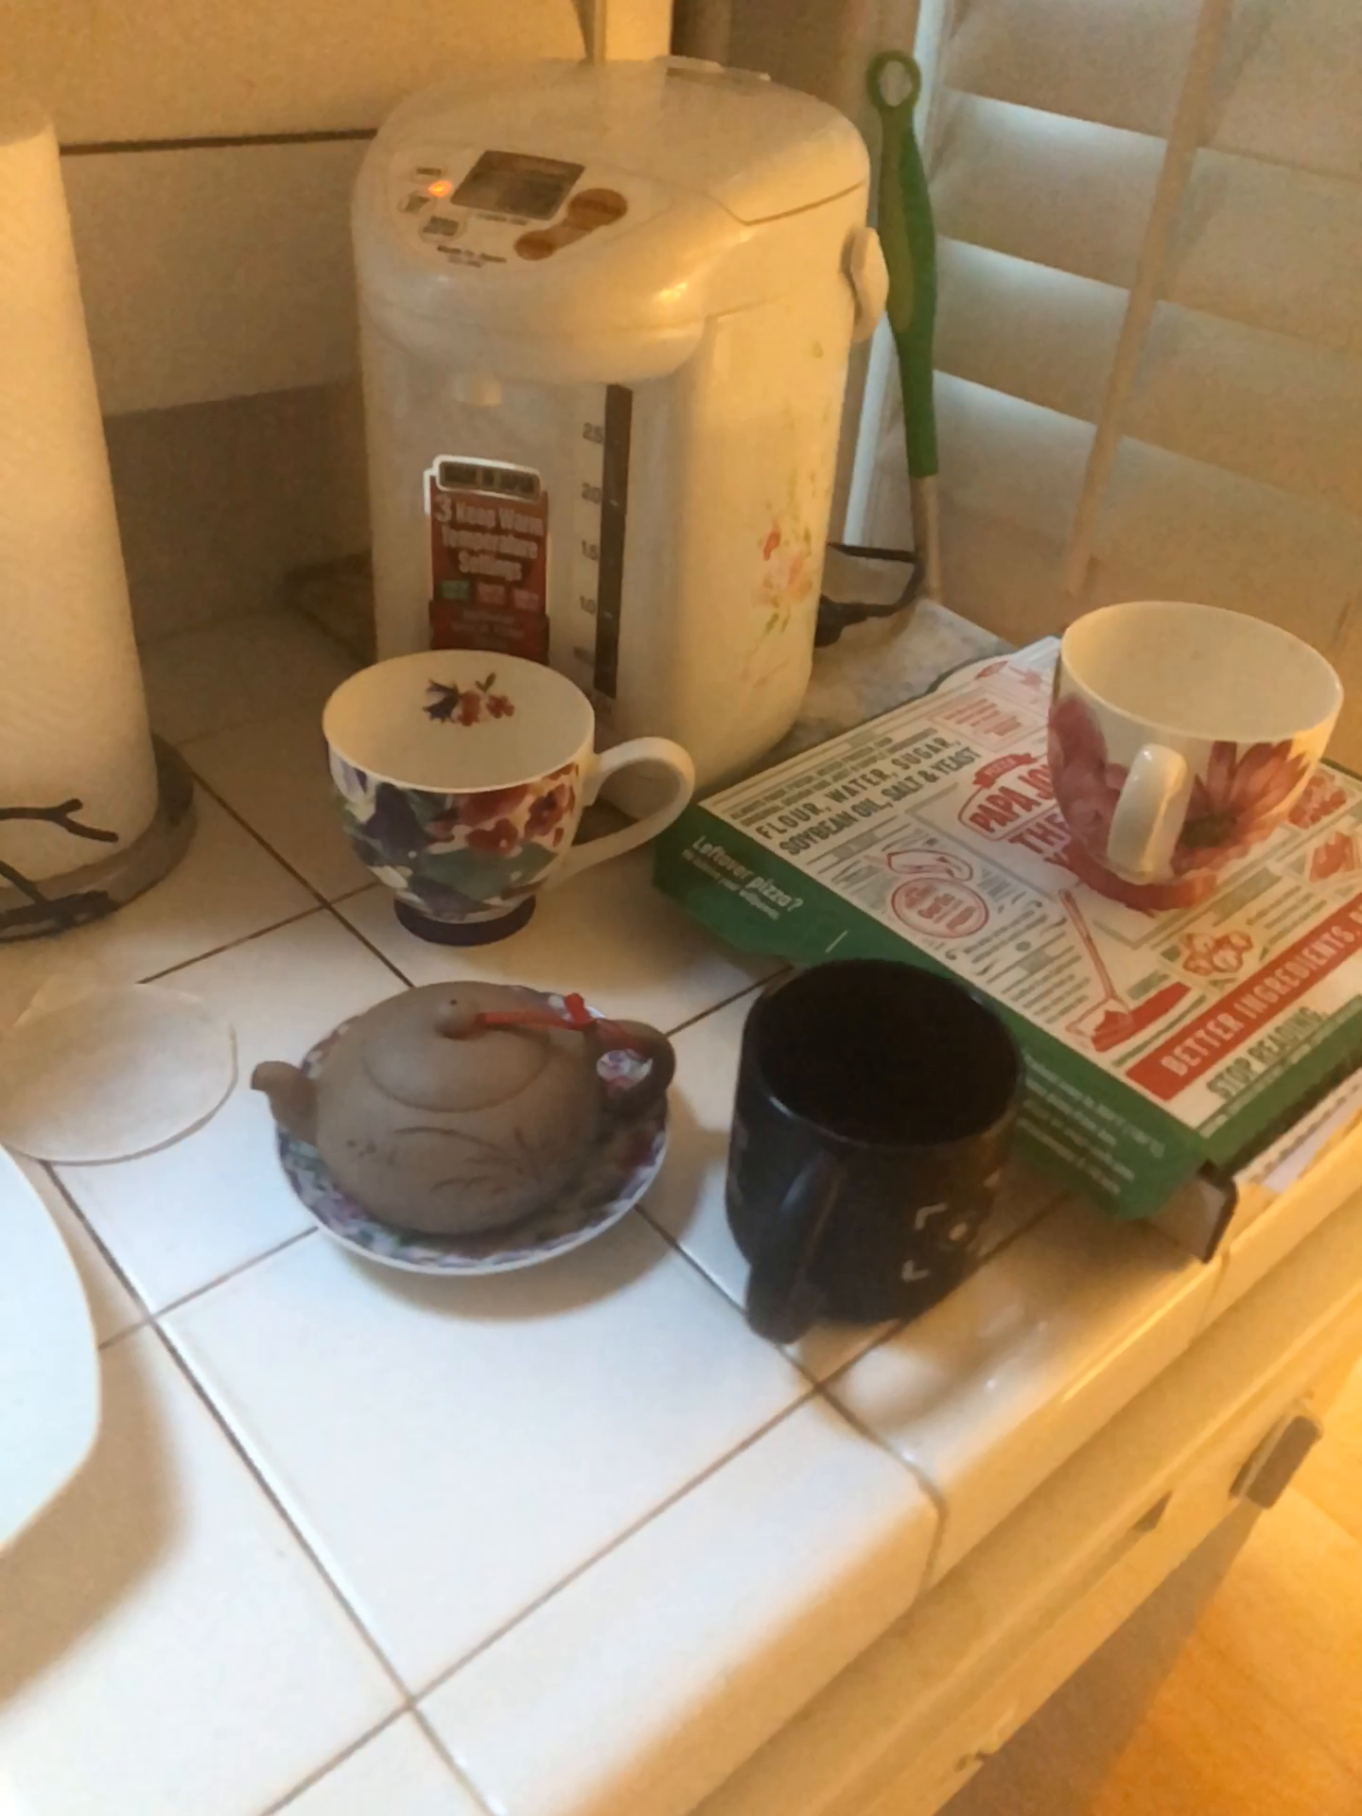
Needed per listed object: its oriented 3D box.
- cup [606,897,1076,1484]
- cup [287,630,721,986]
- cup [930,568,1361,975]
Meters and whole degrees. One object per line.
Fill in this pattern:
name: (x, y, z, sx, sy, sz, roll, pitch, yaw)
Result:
cup: (0.053, 0.087, 0.500, 0.090, 0.099, 0.141, 24, 41, 22)
cup: (-0.069, -0.044, 0.635, 0.160, 0.089, 0.111, 5, 38, 0)
cup: (0.187, -0.061, 0.595, 0.110, 0.069, 0.151, 25, 42, 24)
